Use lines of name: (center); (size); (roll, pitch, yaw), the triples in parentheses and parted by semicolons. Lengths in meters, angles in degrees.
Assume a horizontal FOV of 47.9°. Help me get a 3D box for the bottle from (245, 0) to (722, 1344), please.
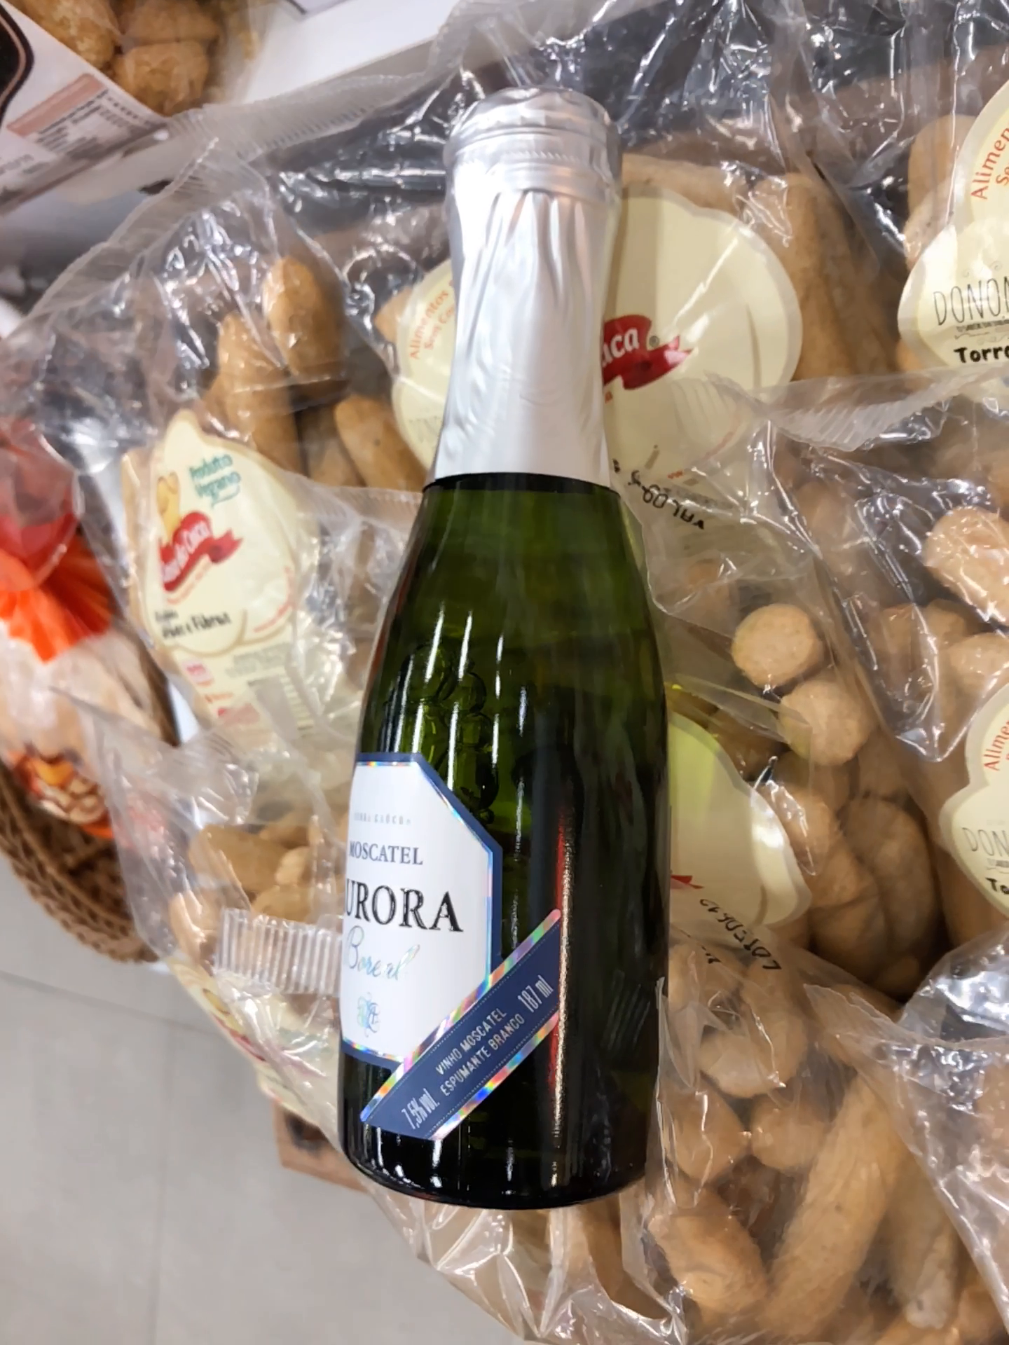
bottle: (-0.003, -0.005, 0.193); (0.060, 0.050, 0.200); (1, 91, 33)
